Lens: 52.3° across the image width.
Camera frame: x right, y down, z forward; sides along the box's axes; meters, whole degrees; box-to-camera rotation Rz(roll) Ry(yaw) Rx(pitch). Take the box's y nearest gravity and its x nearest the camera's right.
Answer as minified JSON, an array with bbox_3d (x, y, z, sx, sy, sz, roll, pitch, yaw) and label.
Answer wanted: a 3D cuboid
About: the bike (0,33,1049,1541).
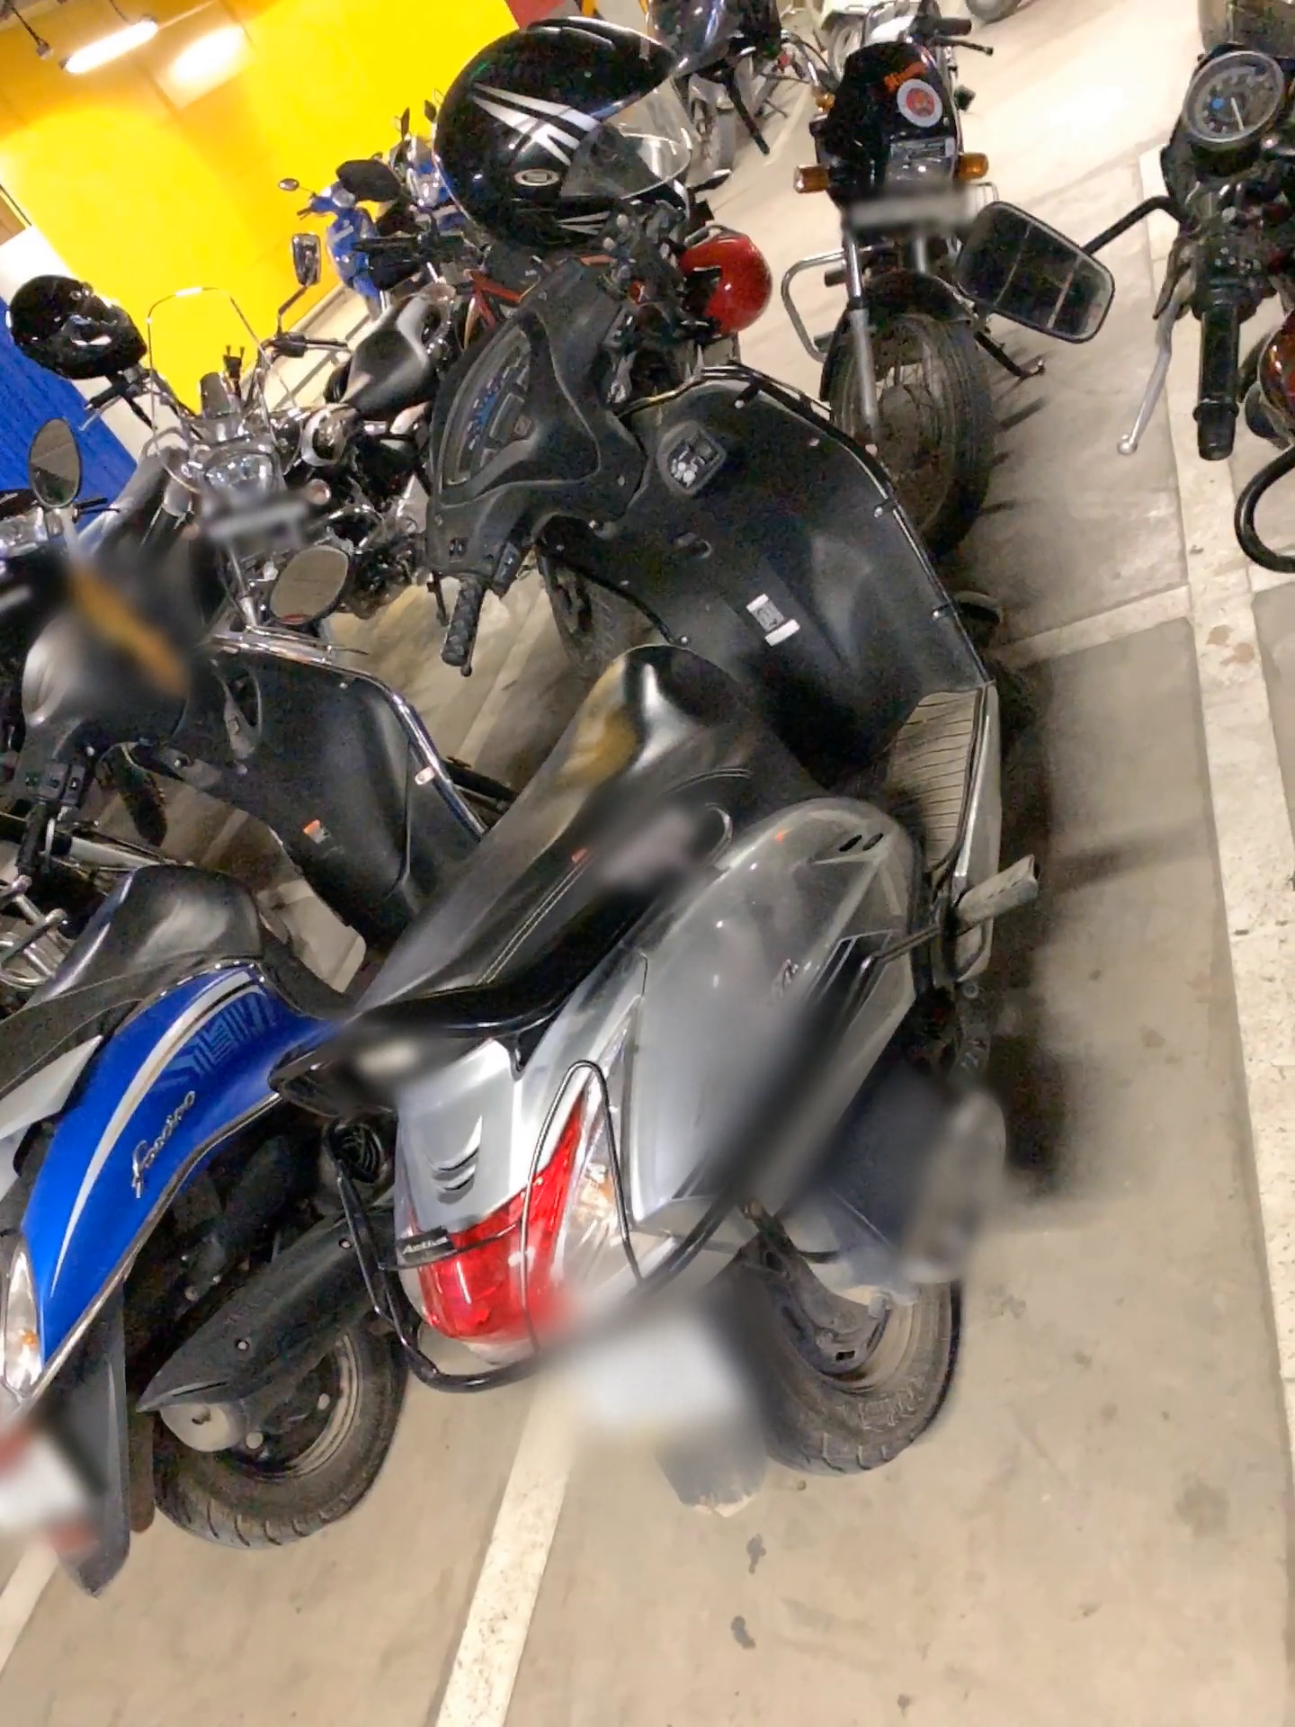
[{"bbox_3d":[-0.014,-0.164,1.768,0.632,1.089,1.538,-18,38,28],"label":"bike"}]
